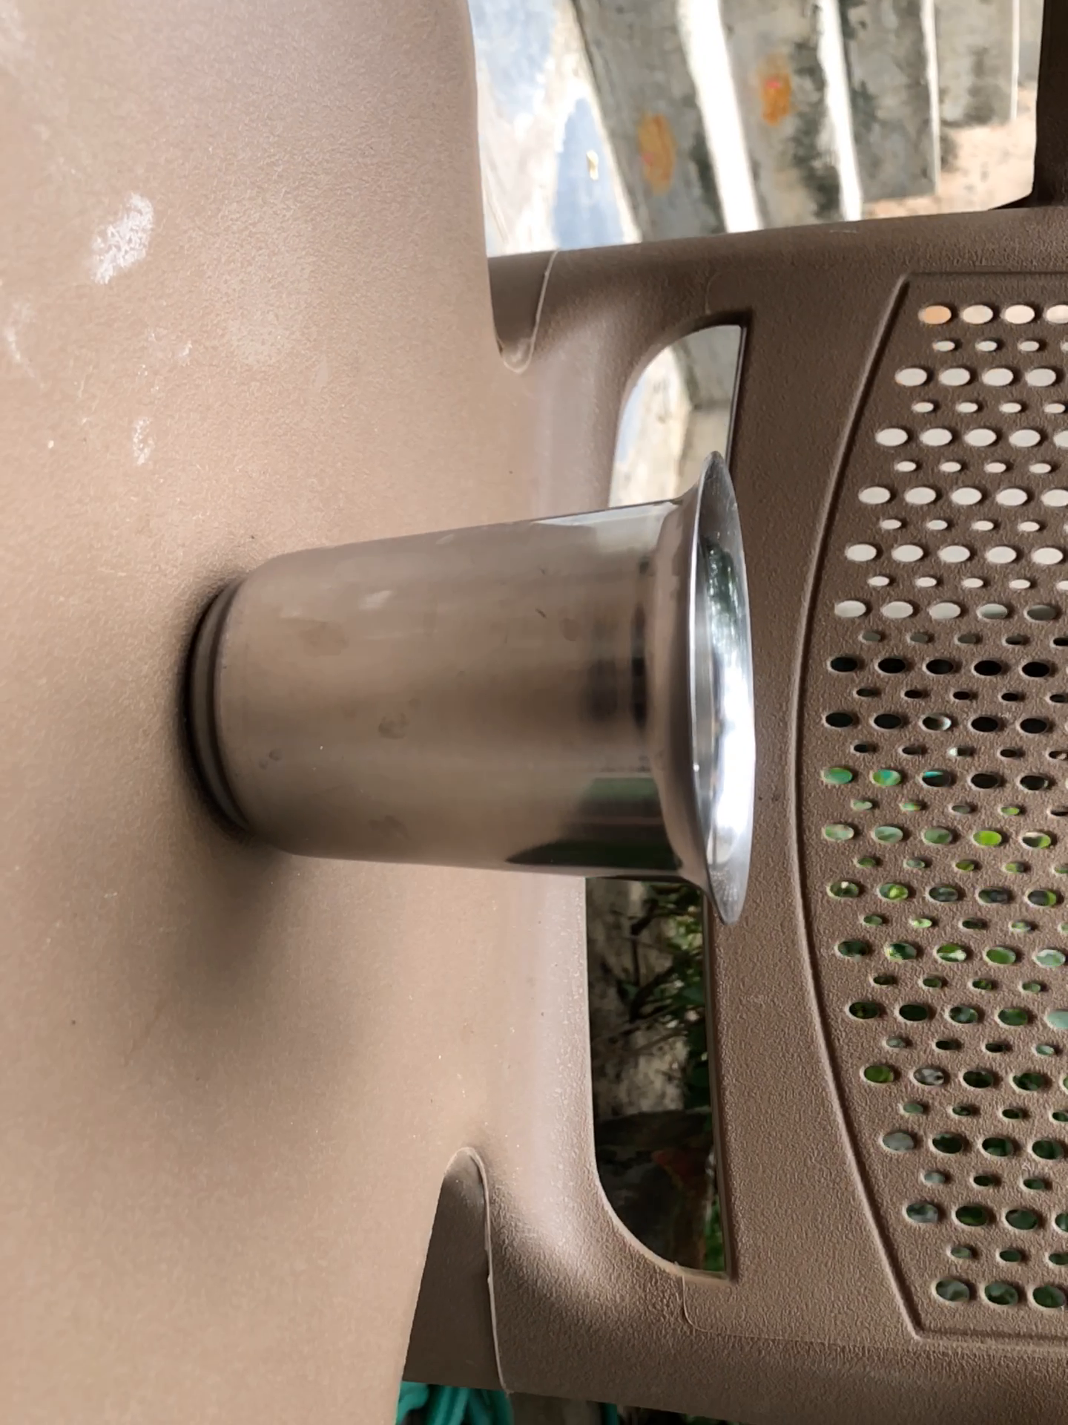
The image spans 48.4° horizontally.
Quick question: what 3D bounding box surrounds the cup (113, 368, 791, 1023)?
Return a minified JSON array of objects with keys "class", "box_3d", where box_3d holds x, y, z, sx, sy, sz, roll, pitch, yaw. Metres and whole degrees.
[{"class":"cup","box_3d":[-0.005,-0.004,0.231,0.080,0.089,0.090,-64,146,-52]}]
